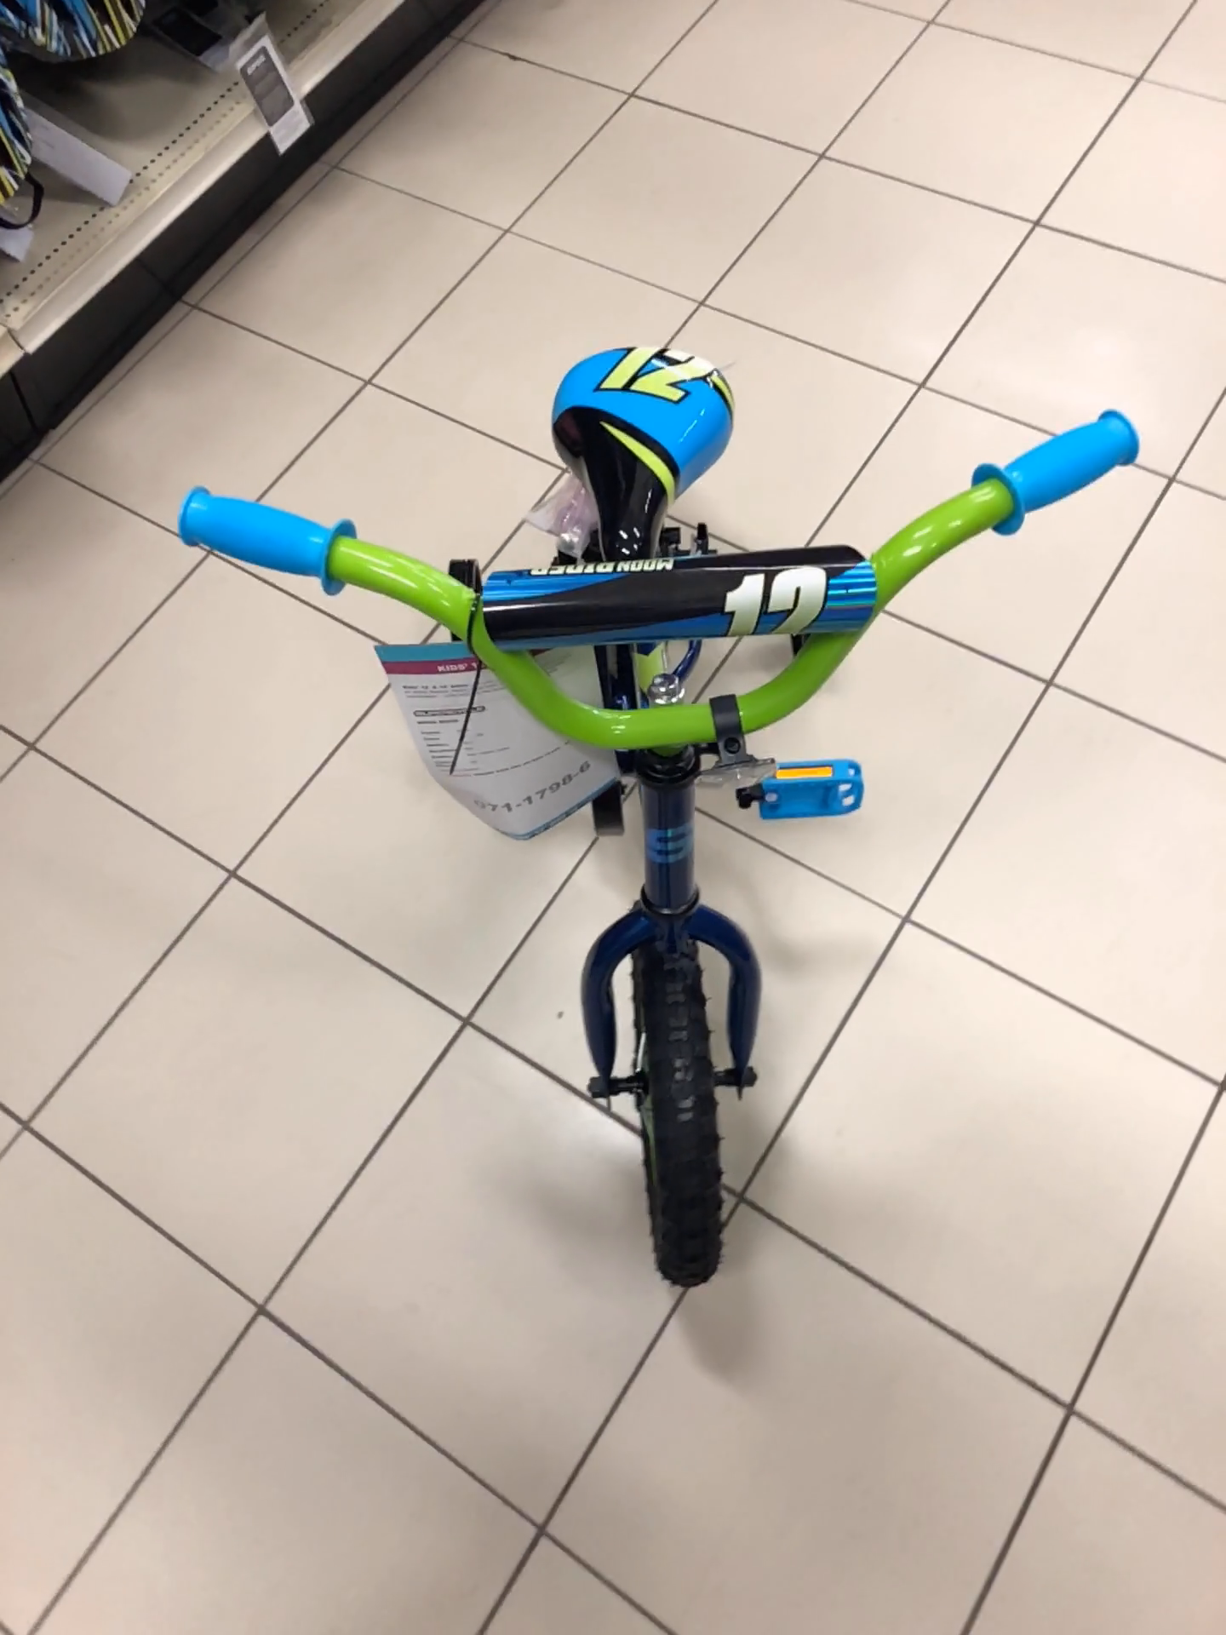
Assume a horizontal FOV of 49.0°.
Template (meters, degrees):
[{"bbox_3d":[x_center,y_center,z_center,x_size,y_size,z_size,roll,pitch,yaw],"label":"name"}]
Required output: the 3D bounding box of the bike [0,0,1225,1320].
[{"bbox_3d":[0.027,-0.116,0.996,0.548,0.676,0.797,-5,62,5],"label":"bike"}]
